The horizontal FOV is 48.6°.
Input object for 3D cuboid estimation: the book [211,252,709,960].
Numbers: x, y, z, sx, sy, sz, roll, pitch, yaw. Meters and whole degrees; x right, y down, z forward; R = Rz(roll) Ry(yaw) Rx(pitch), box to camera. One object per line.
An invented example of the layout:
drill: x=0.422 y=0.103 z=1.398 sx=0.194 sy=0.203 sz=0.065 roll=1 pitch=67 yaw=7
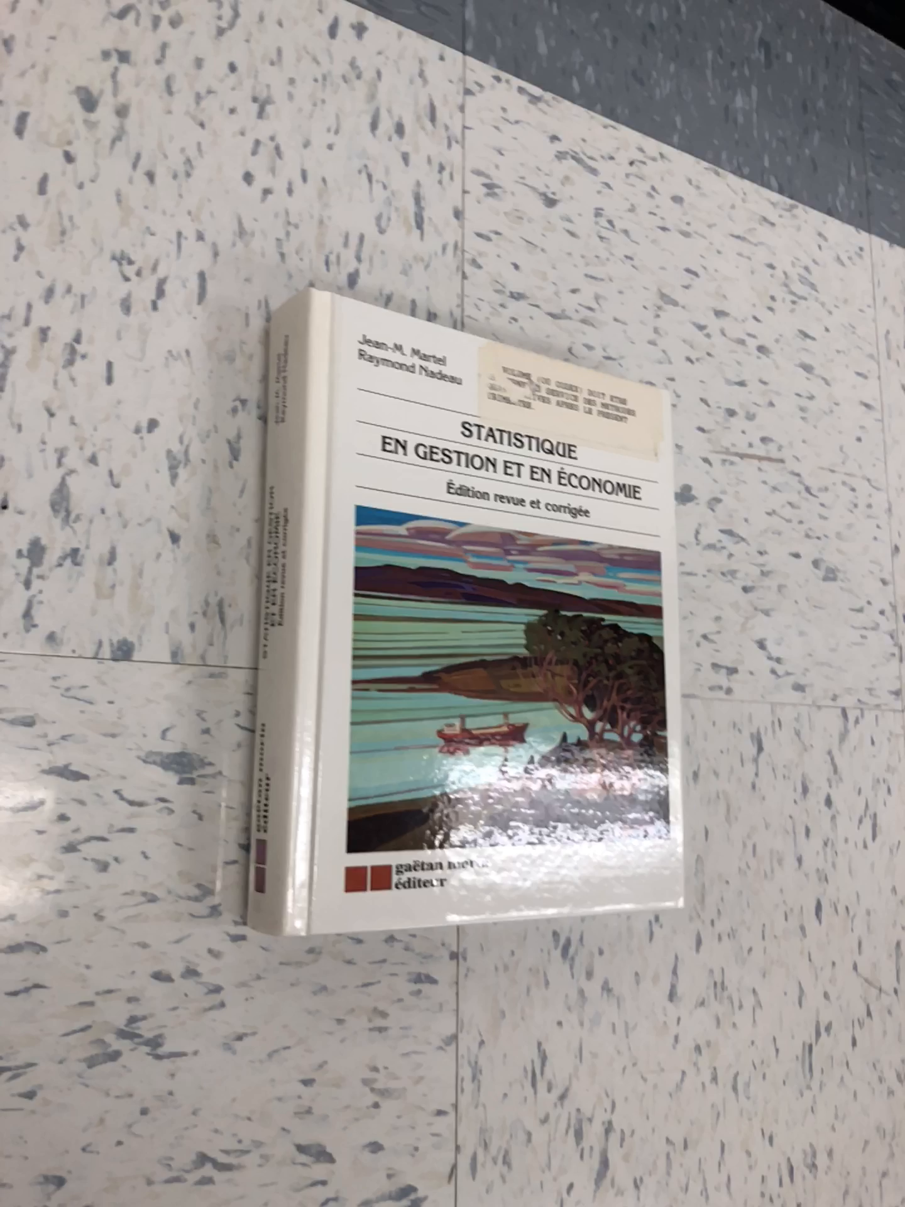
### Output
book: x=0.009 y=0.007 z=0.409 sx=0.191 sy=0.060 sz=0.240 roll=6 pitch=78 yaw=-31
